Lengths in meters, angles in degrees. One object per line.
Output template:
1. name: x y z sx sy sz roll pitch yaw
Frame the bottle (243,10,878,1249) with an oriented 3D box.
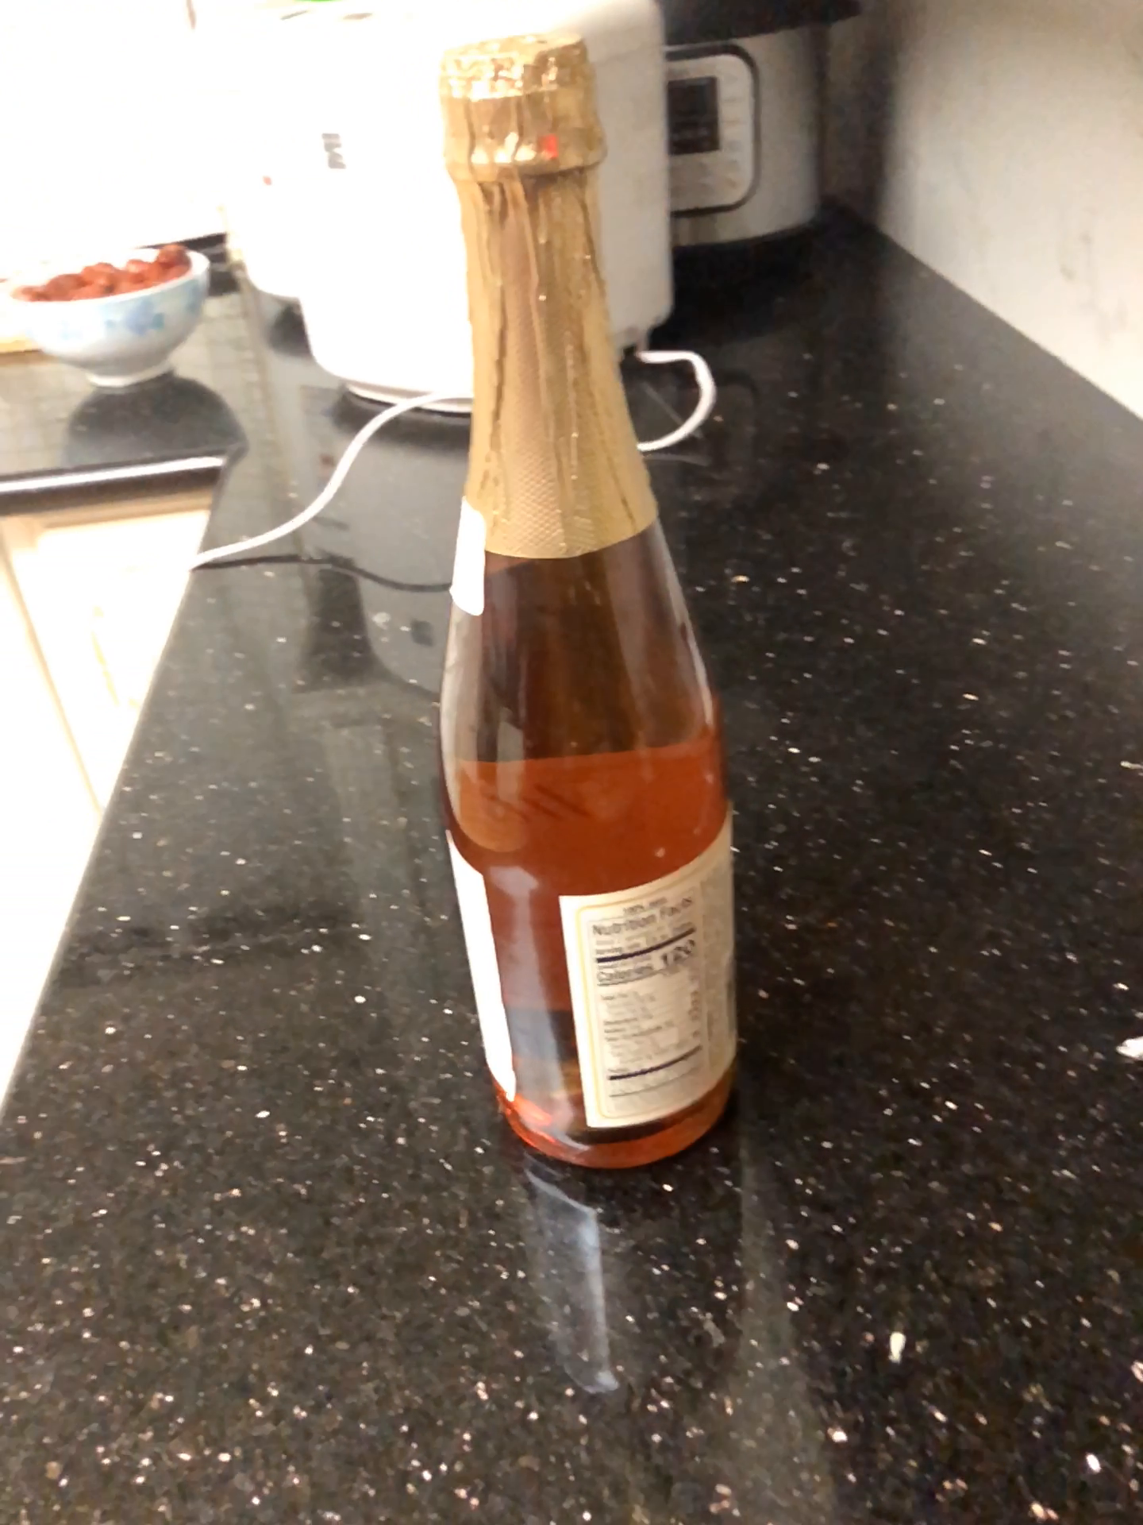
1. bottle: 0.009 -0.019 0.332 0.090 0.298 0.090 -4 34 3
